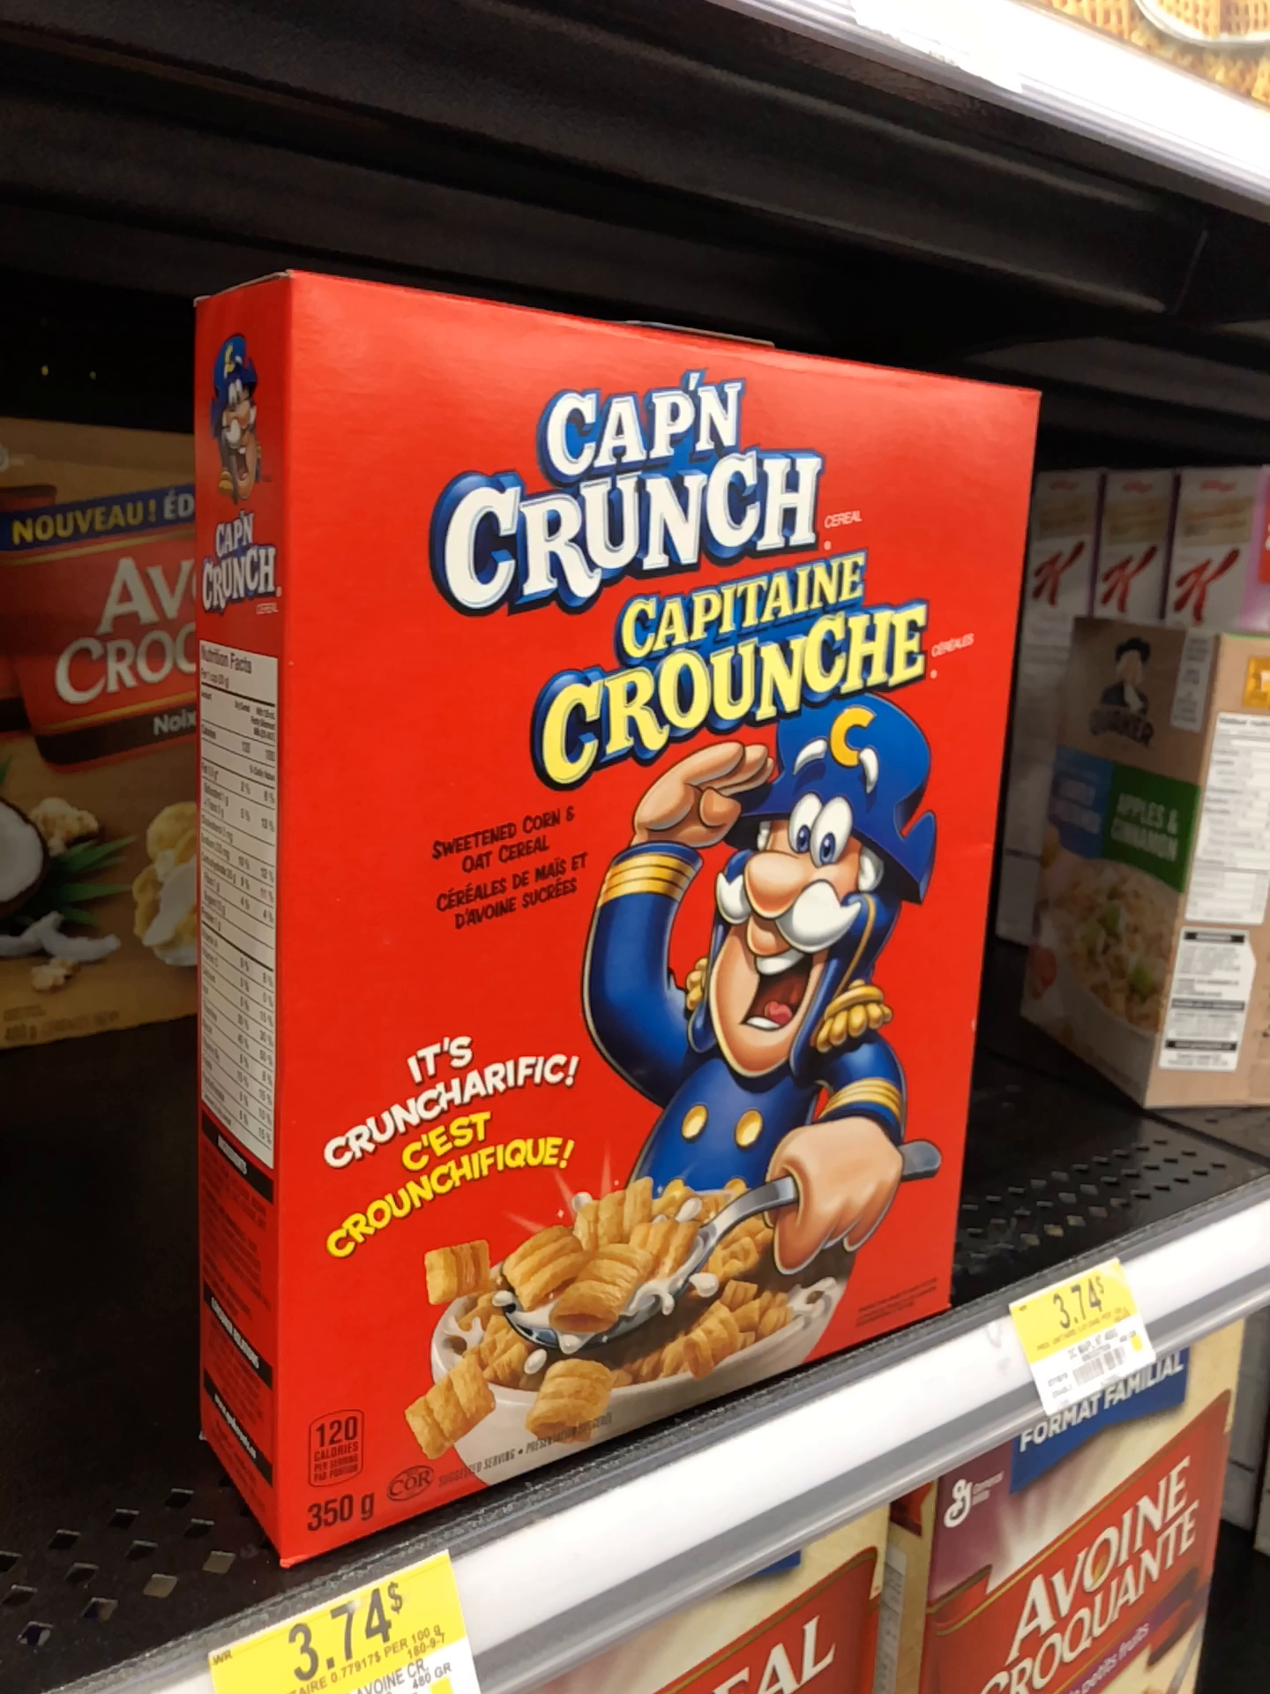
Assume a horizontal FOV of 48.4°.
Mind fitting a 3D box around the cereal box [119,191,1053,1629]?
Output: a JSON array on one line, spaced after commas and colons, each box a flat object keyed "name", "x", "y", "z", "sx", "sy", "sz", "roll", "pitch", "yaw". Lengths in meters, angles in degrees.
[{"name": "cereal box", "x": -0.006, "y": 0.011, "z": 0.354, "sx": 0.220, "sy": 0.279, "sz": 0.060, "roll": -5, "pitch": 14, "yaw": -36}]
